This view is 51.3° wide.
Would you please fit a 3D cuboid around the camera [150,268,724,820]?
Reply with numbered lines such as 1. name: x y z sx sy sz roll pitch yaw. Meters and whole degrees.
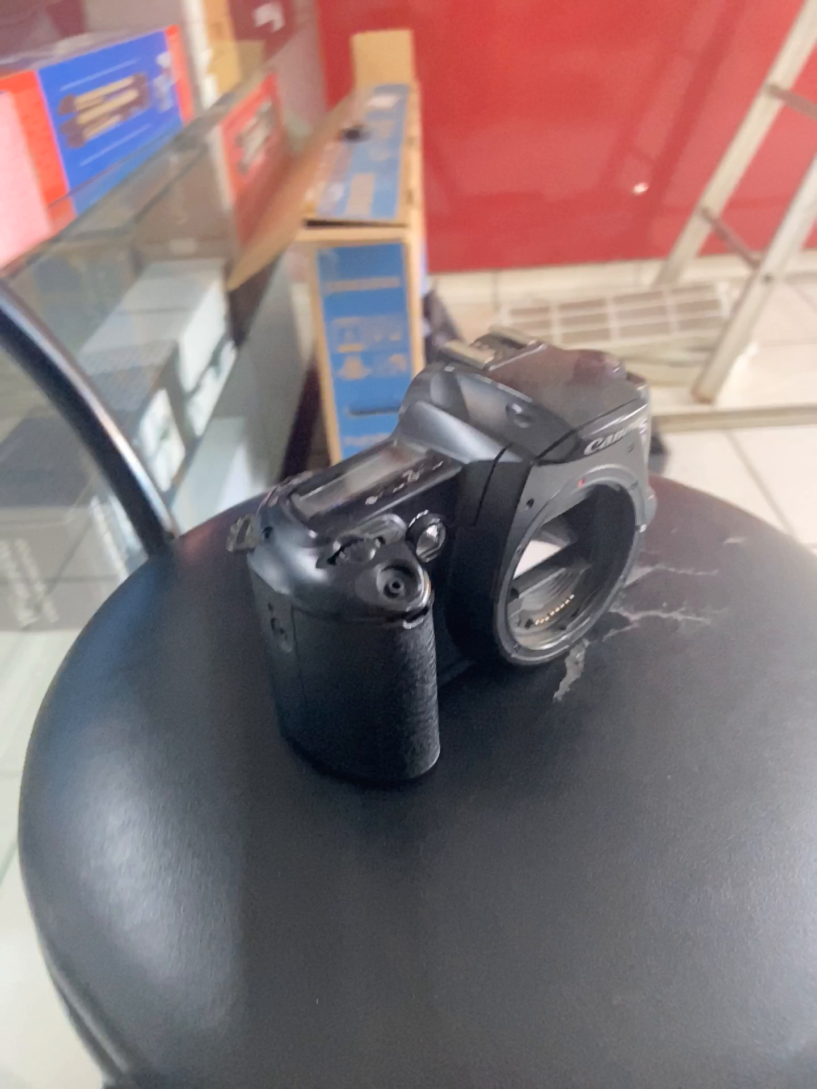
1. camera: 0.015 -0.011 0.248 0.140 0.089 0.070 -30 42 -31
